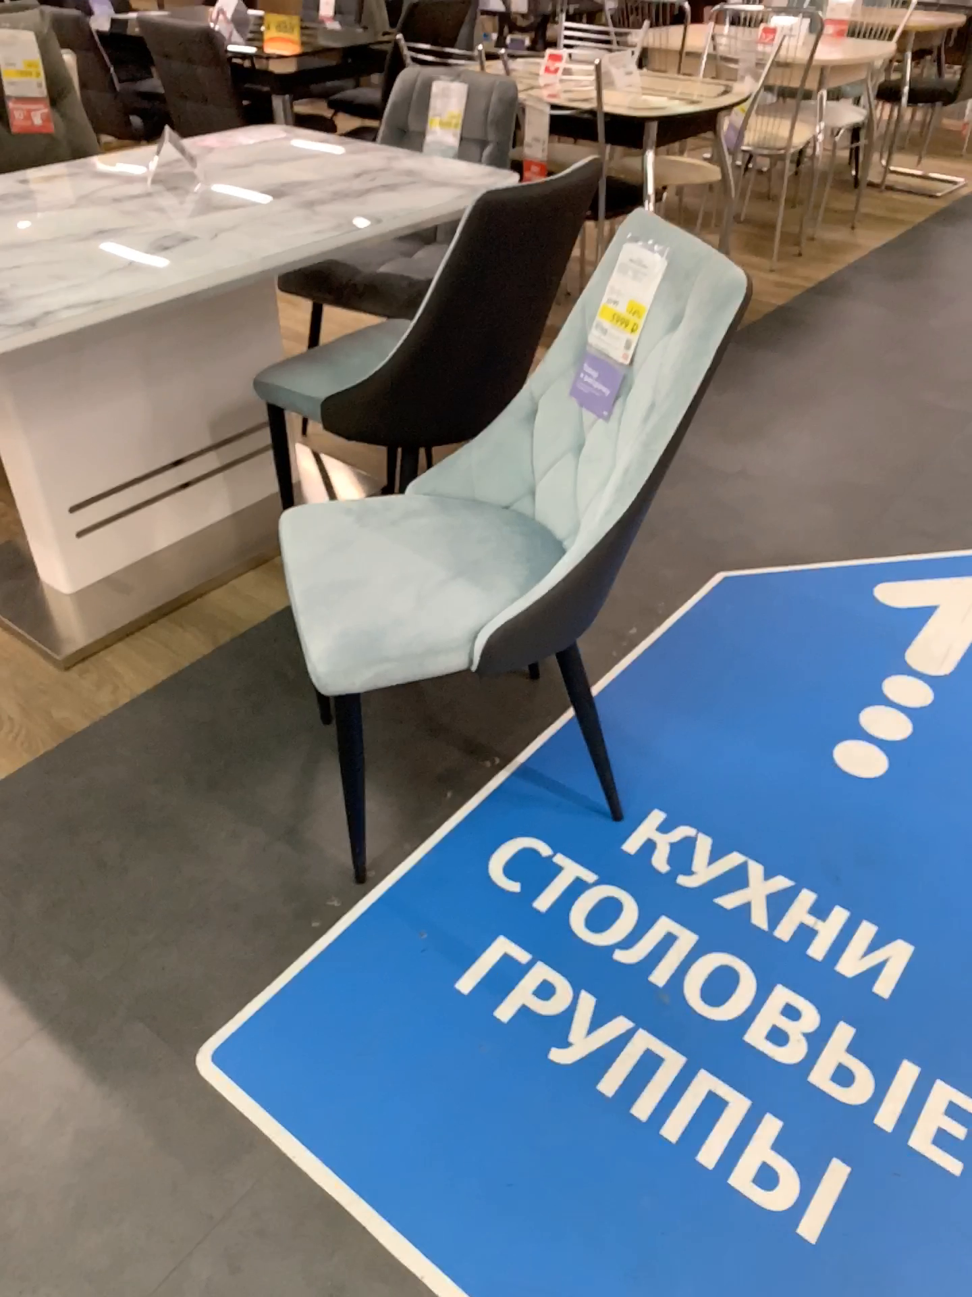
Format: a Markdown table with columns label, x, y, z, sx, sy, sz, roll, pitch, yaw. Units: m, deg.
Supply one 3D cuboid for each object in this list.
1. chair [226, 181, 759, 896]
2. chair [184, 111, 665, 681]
| label | x | y | z | sx | sy | sz | roll | pitch | yaw |
| --- | --- | --- | --- | --- | --- | --- | --- | --- | --- |
| chair | -0.028 | -0.157 | 1.502 | 0.550 | 0.885 | 0.472 | -9 | 38 | -13 |
| chair | -0.114 | -0.548 | 2.085 | 0.666 | 0.880 | 0.571 | 26 | 44 | 30 |
